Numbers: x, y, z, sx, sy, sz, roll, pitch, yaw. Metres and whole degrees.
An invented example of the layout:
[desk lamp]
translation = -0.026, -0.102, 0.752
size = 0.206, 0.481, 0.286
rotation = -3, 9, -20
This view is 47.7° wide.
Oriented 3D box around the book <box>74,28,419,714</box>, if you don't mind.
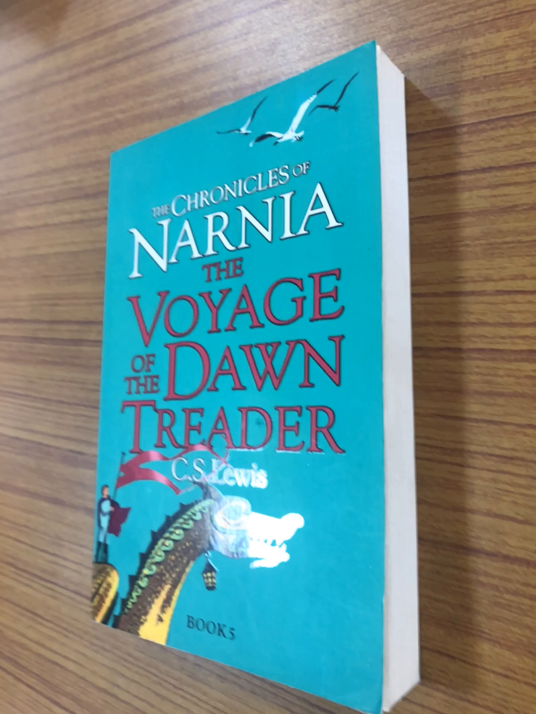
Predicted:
[book]
translation = -0.015, 0.003, 0.226
size = 0.131, 0.030, 0.200
rotation = -5, 81, 36
